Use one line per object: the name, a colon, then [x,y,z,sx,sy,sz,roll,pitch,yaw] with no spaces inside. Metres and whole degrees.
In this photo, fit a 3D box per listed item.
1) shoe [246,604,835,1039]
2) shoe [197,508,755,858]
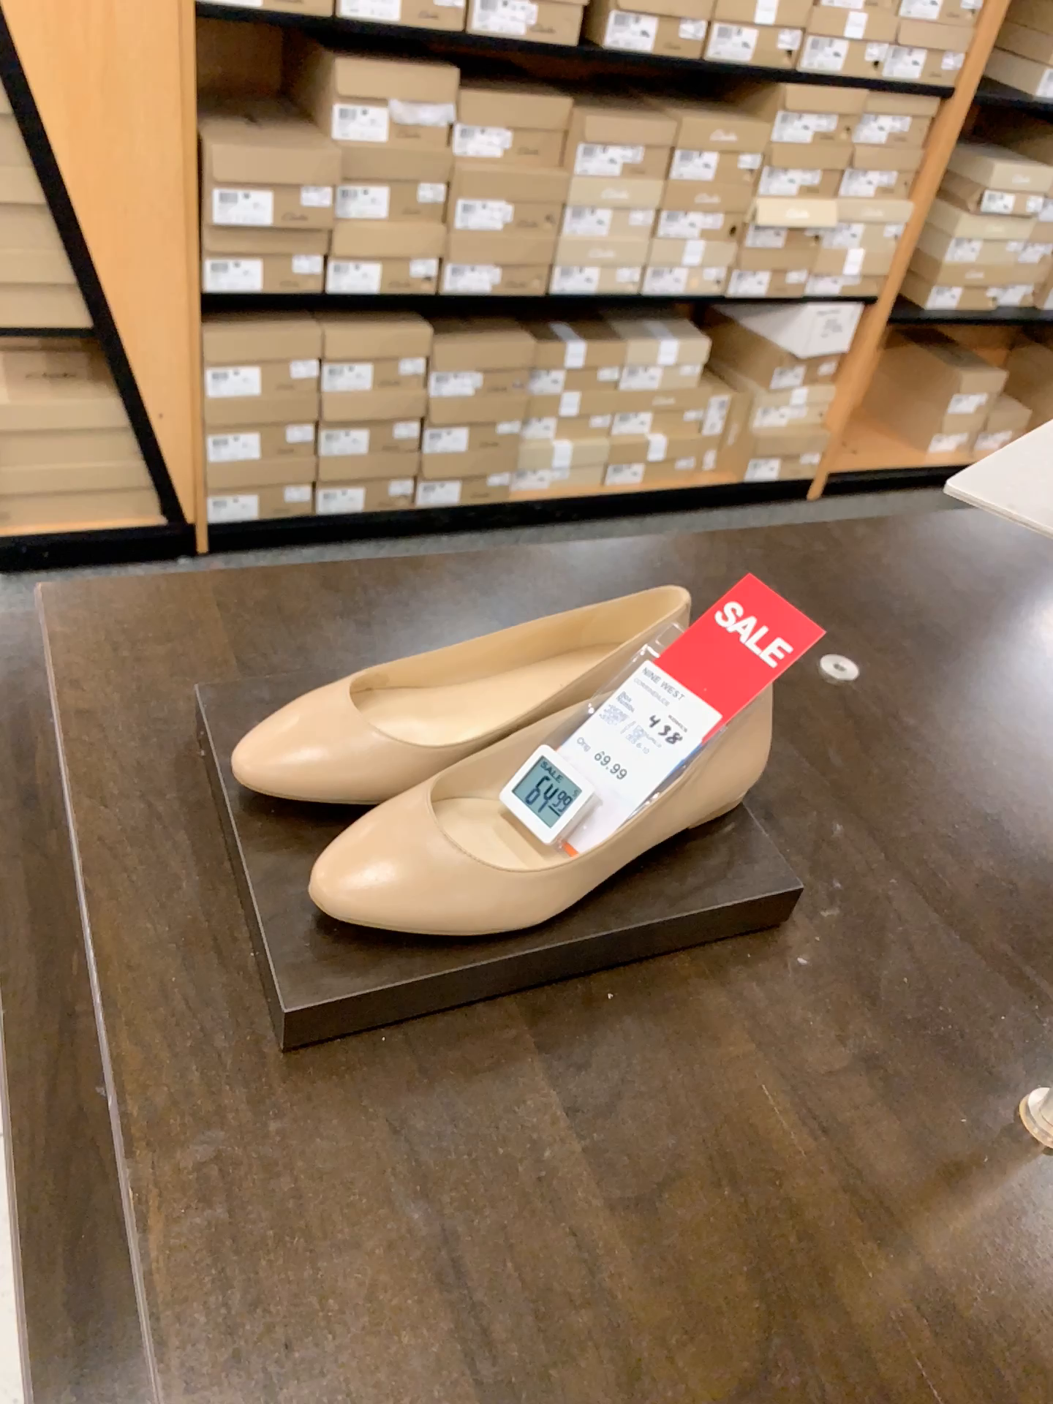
shoe: [0.011,0.040,0.489,0.251,0.080,0.090,-18,48,-32]
shoe: [-0.021,-0.020,0.530,0.250,0.080,0.090,-15,47,-30]
